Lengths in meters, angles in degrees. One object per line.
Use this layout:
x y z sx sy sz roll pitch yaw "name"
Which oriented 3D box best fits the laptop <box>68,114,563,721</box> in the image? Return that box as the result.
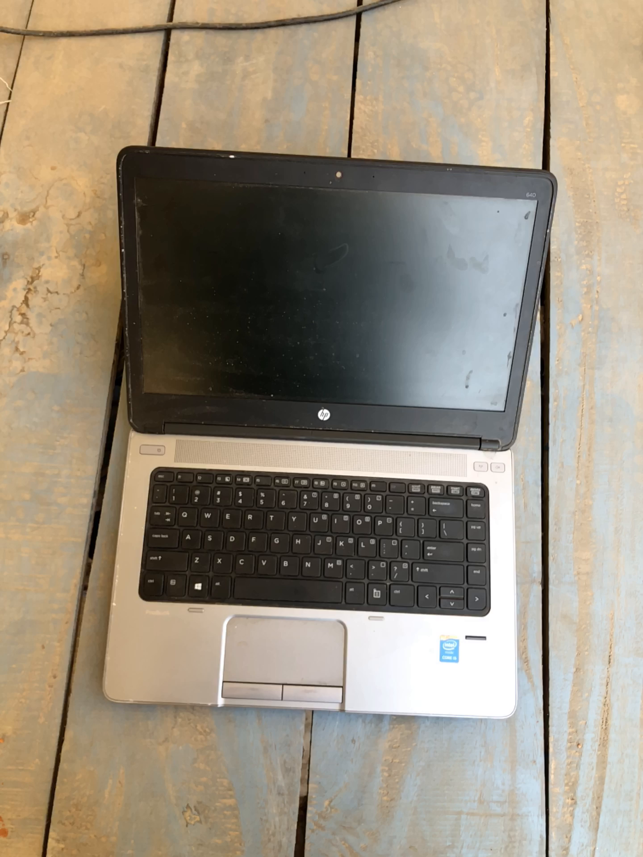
0.007 -0.008 0.534 0.306 0.123 0.389 4 79 0 "laptop"
